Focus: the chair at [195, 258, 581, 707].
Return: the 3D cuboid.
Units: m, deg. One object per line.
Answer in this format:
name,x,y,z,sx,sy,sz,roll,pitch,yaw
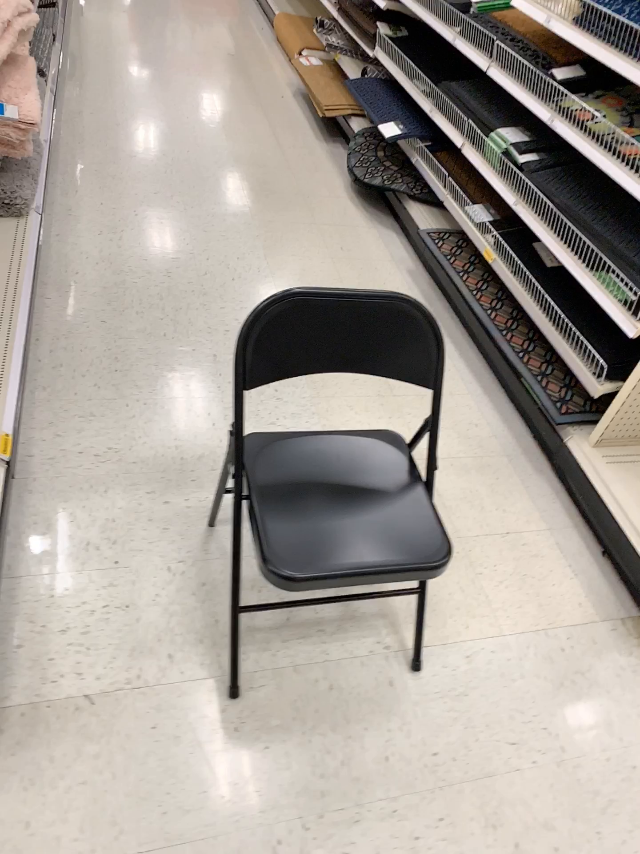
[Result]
chair,0.039,0.122,1.363,0.490,0.716,0.553,-2,45,-18
